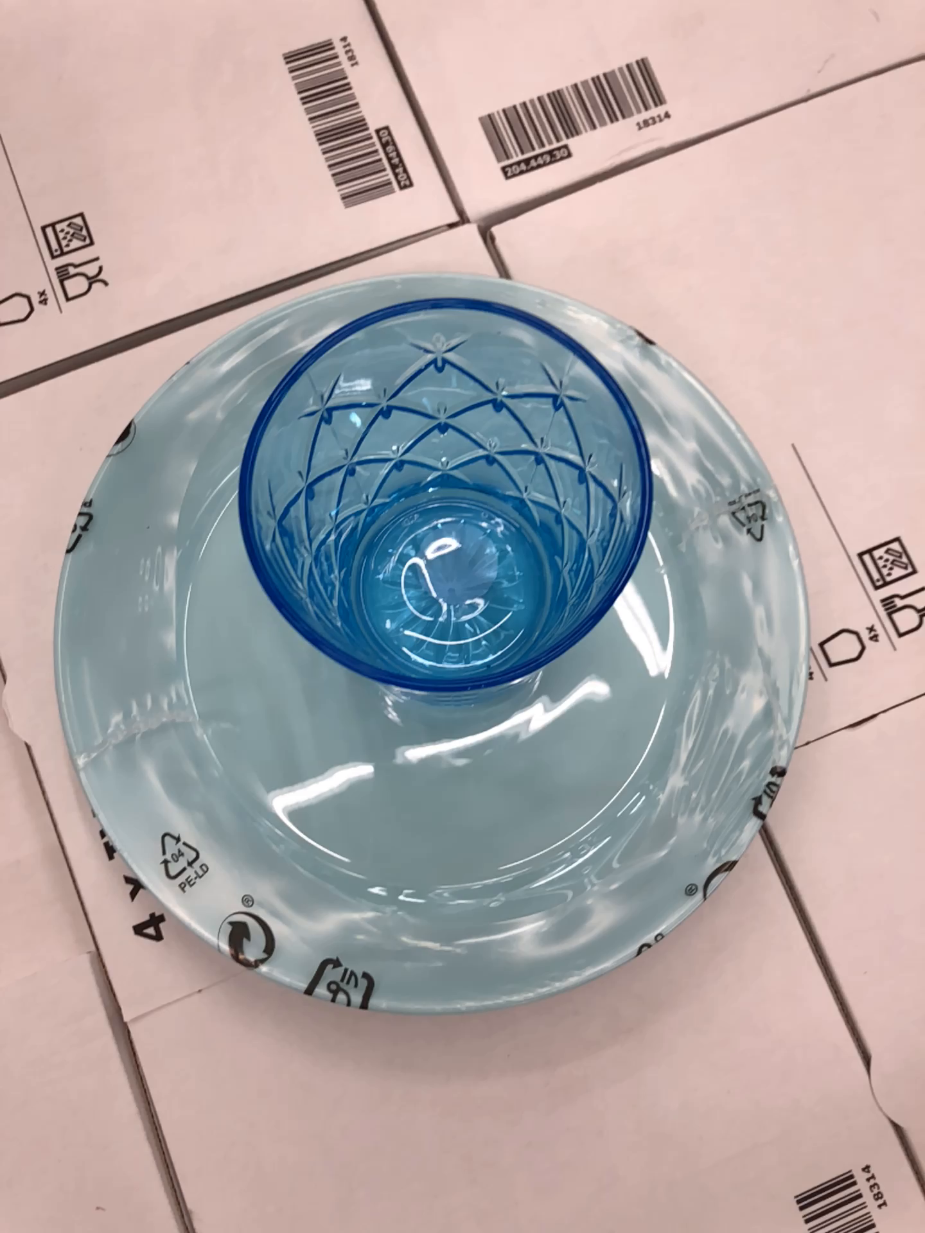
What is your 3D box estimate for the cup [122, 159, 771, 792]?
[{"bbox_3d":[-0.002,-0.023,0.252,0.090,0.100,0.090,0,79,1],"label":"cup"}]
